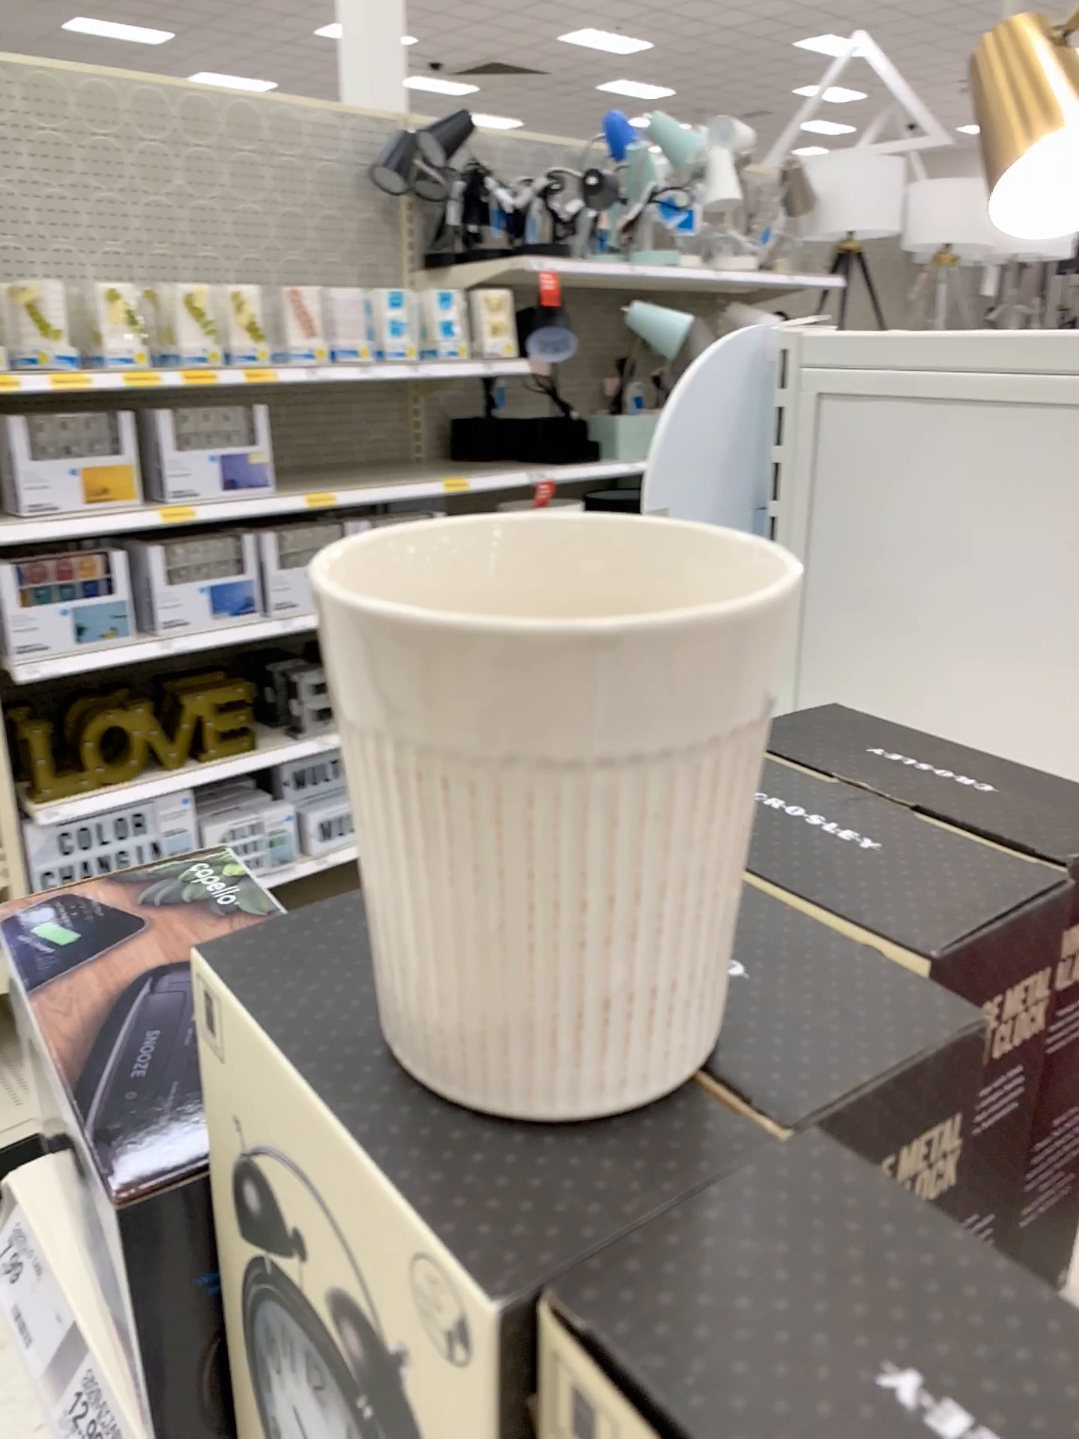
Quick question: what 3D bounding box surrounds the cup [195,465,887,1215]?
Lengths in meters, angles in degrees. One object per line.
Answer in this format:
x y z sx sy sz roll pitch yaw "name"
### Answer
-0.007 0.010 0.234 0.084 0.099 0.117 -14 27 -31 "cup"
